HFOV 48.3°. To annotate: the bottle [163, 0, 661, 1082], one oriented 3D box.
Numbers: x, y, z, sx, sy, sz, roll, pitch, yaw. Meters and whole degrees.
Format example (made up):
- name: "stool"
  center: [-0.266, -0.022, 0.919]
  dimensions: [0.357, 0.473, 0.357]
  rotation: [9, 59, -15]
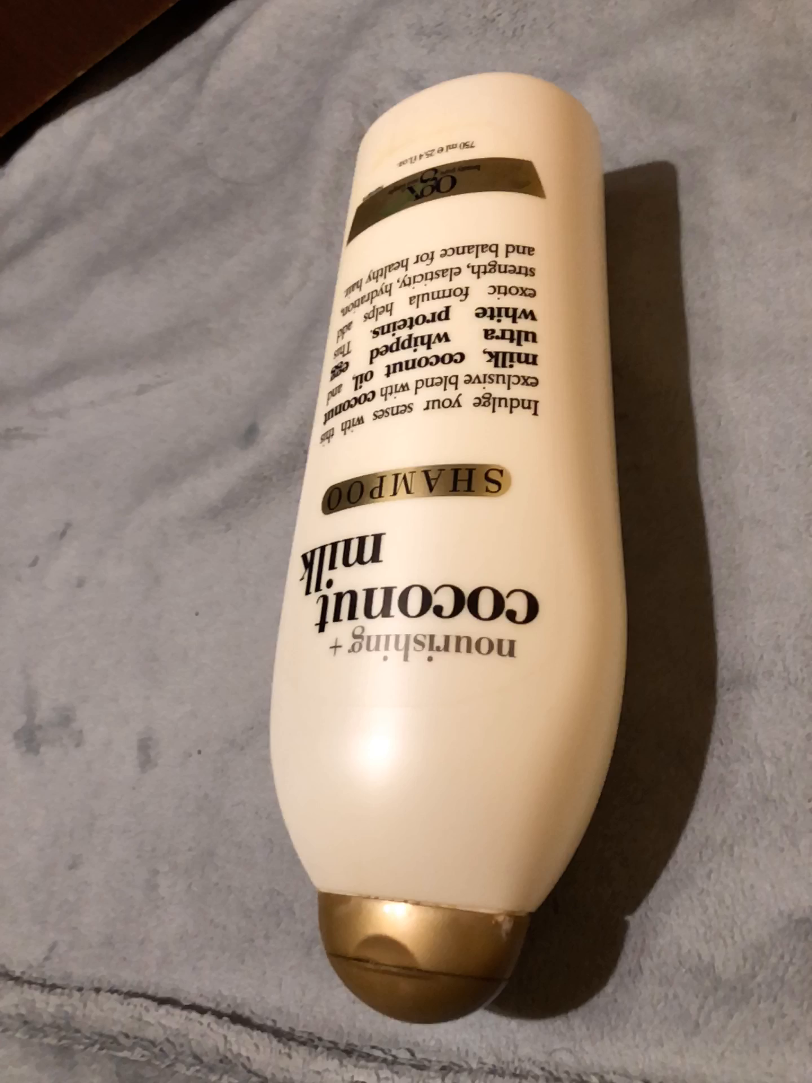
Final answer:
- name: "bottle"
  center: [0.010, -0.013, 0.205]
  dimensions: [0.080, 0.040, 0.220]
  rotation: [-6, 67, 31]
